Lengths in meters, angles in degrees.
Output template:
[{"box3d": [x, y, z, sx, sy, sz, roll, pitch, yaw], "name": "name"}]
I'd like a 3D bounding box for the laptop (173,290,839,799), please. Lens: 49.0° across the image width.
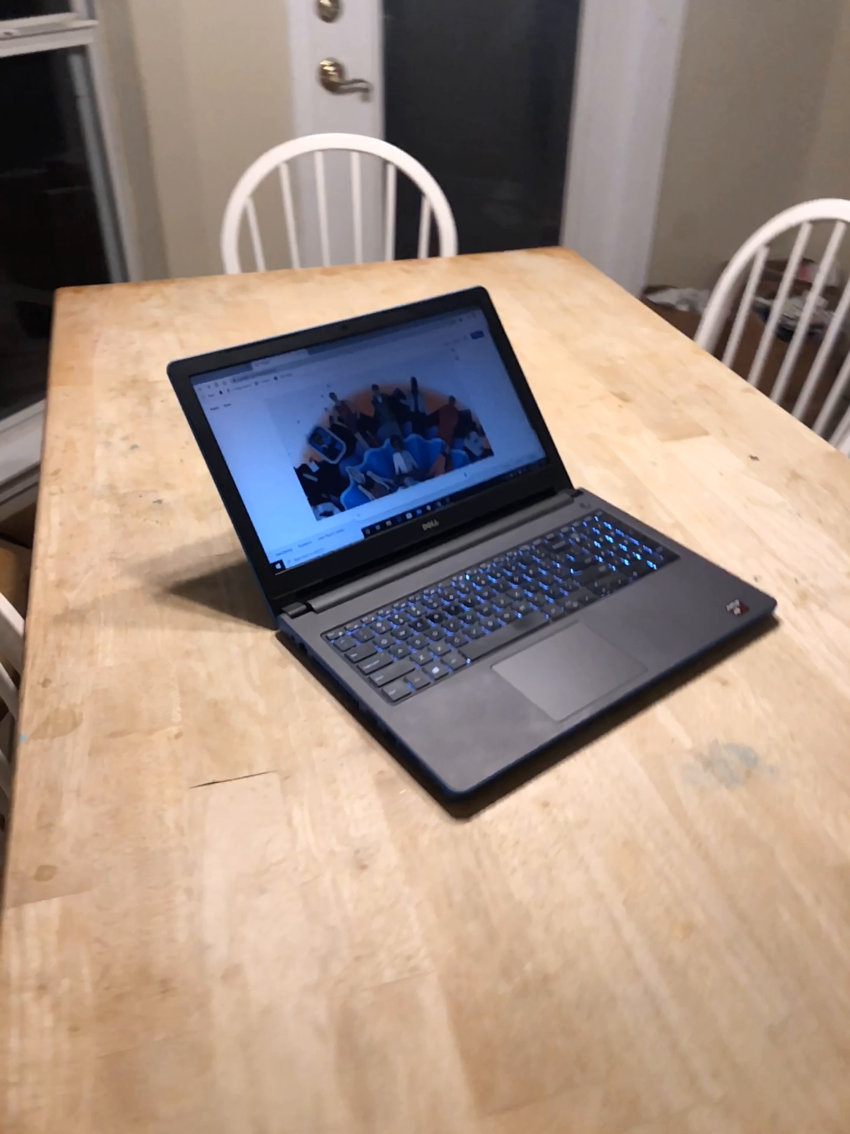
[{"box3d": [0.051, -0.069, 0.828, 0.367, 0.174, 0.420, -24, 41, -30], "name": "laptop"}]
